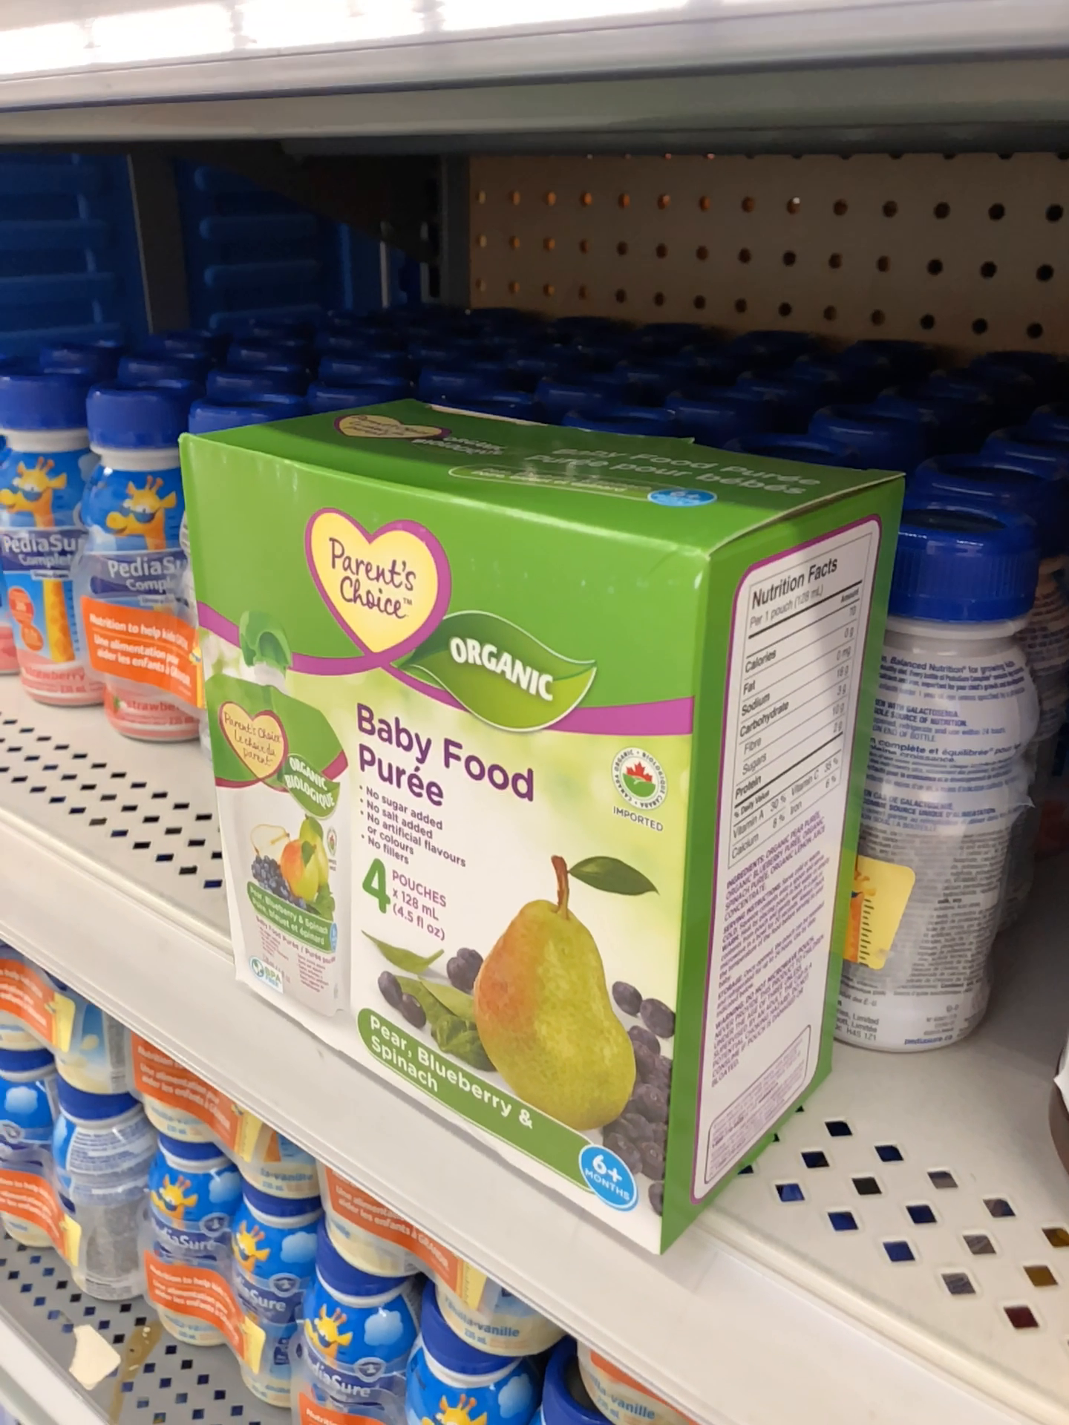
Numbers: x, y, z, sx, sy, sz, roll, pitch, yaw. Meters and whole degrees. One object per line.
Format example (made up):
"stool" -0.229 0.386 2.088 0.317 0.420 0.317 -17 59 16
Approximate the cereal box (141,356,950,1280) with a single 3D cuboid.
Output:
"cereal box" -0.003 0.009 0.287 0.150 0.159 0.090 20 30 35
